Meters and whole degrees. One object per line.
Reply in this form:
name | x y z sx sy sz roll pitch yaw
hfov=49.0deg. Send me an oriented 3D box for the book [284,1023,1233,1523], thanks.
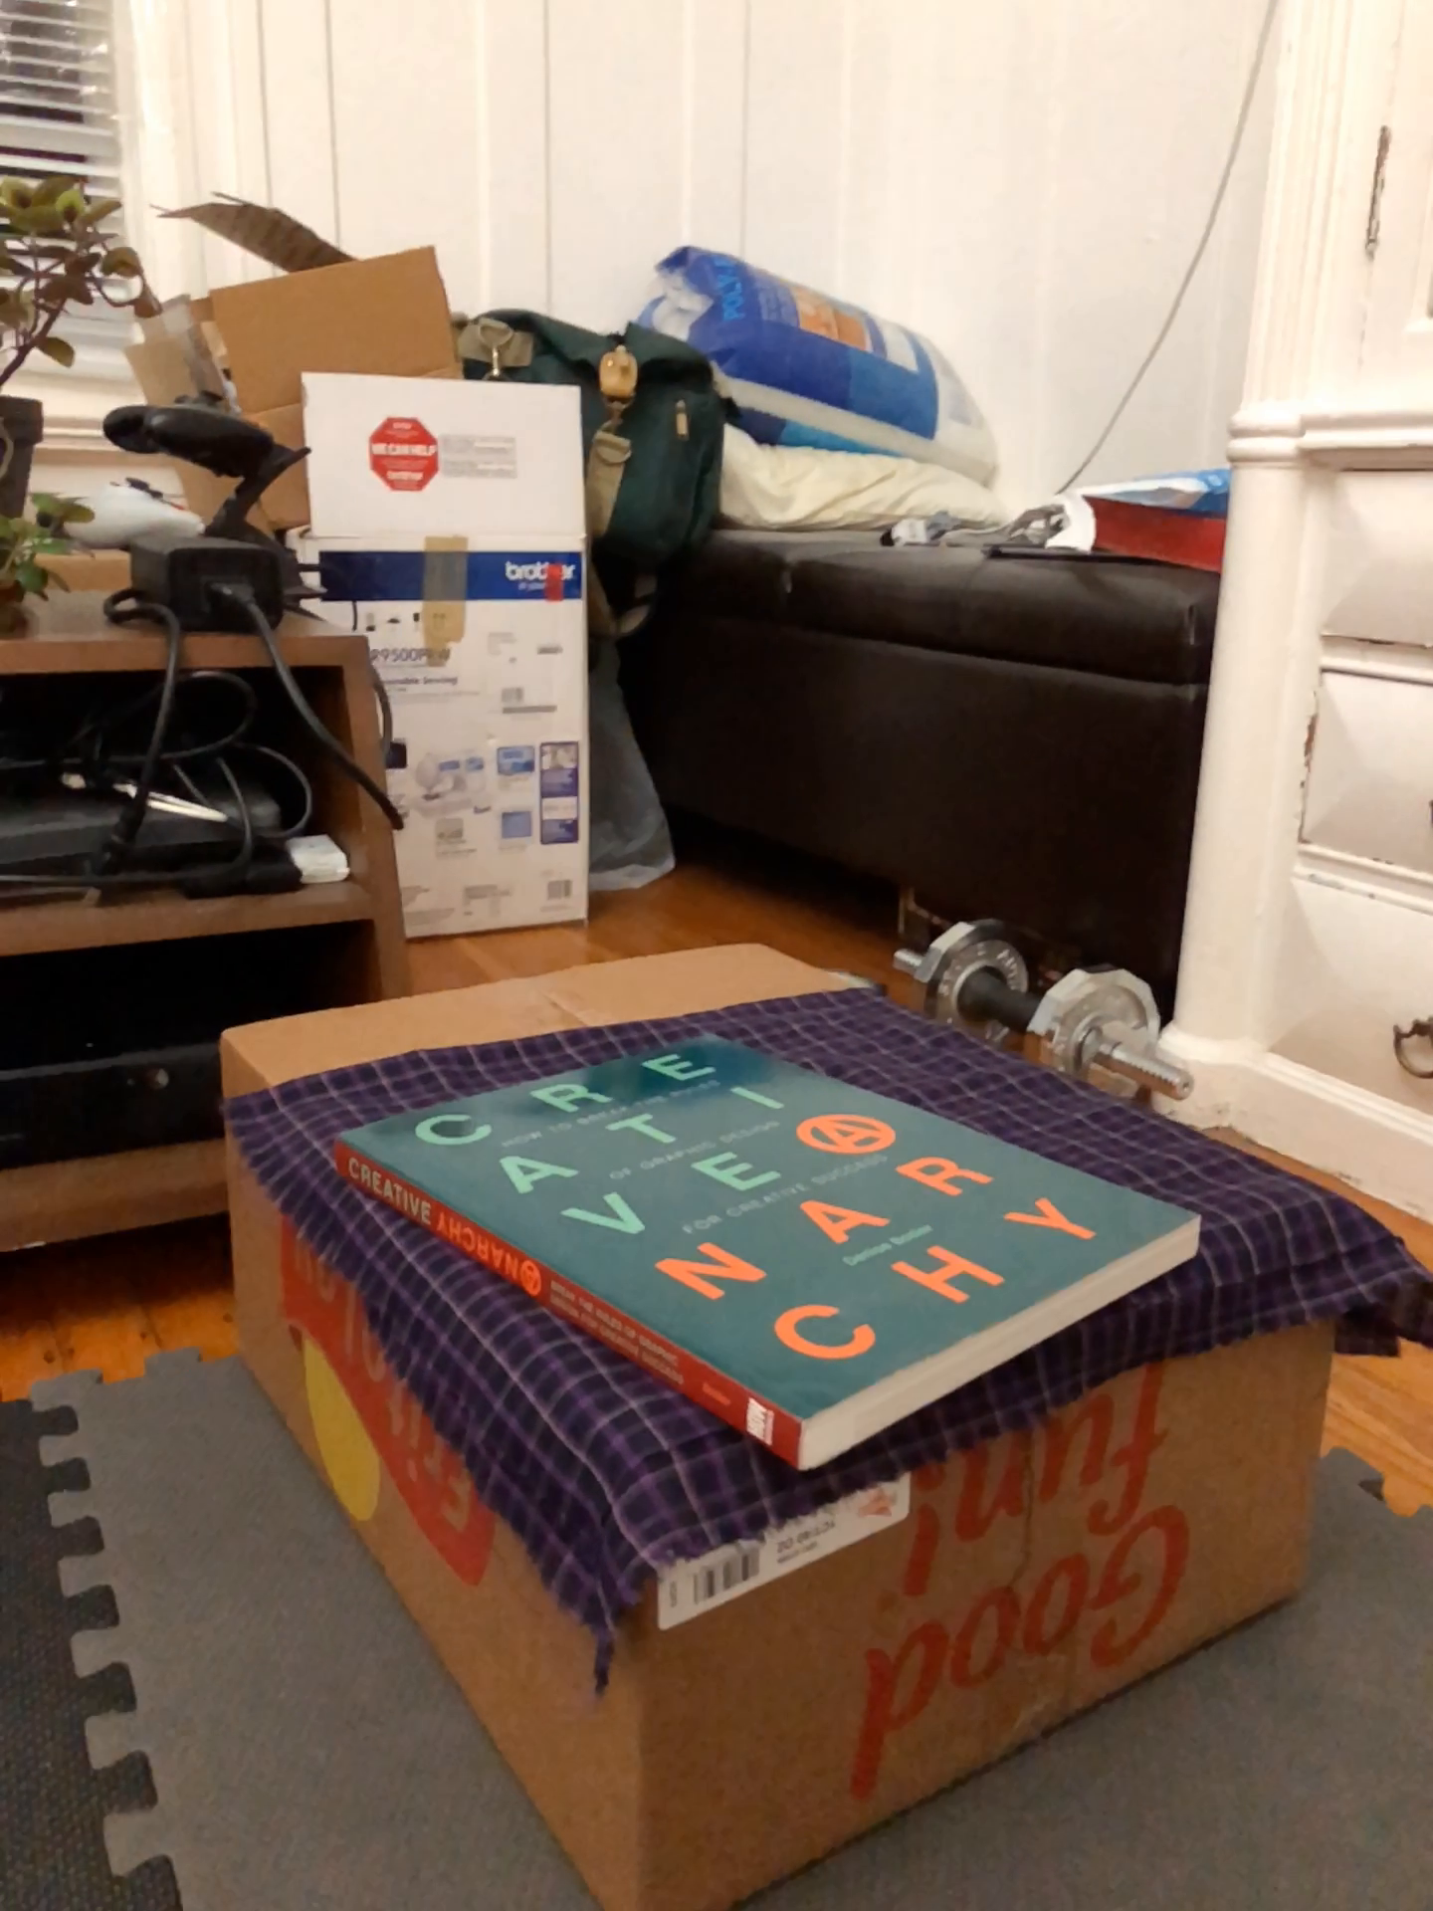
book | 0.006 0.095 0.611 0.221 0.020 0.300 -13 22 -41
